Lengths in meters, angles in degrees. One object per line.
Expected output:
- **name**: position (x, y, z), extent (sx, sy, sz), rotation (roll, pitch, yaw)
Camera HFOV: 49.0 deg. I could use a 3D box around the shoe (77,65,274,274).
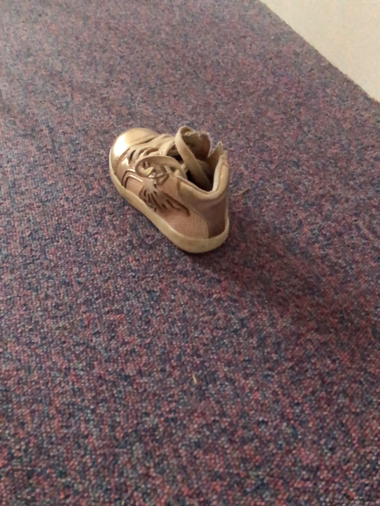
- **shoe**: position (-0.016, -0.074, 0.345), extent (0.080, 0.080, 0.150), rotation (-28, 56, -20)
